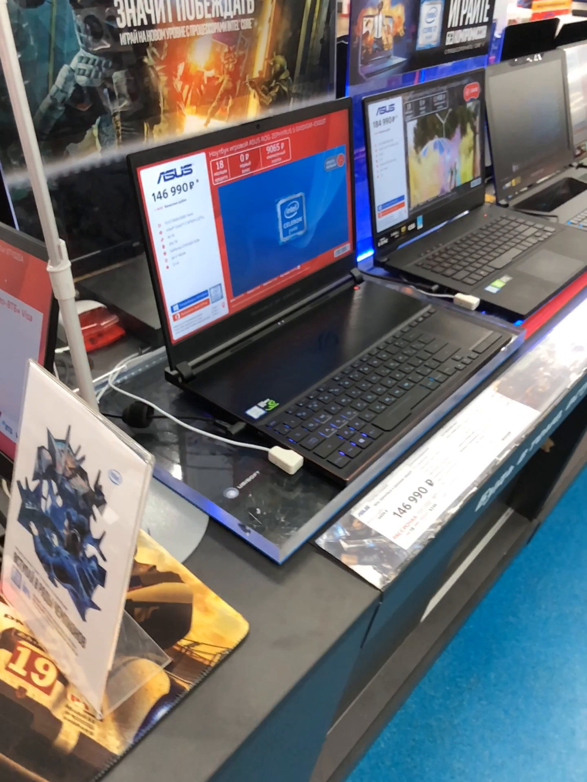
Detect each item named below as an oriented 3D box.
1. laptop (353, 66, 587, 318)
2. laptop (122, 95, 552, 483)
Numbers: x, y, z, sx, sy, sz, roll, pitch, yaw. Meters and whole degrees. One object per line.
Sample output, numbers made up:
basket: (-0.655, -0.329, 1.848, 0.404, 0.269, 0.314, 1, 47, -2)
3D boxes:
laptop: (0.317, -0.333, 1.002, 0.302, 0.219, 0.343, 30, 45, 33)
laptop: (0.056, -0.147, 0.717, 0.278, 0.241, 0.351, 27, 43, 31)
